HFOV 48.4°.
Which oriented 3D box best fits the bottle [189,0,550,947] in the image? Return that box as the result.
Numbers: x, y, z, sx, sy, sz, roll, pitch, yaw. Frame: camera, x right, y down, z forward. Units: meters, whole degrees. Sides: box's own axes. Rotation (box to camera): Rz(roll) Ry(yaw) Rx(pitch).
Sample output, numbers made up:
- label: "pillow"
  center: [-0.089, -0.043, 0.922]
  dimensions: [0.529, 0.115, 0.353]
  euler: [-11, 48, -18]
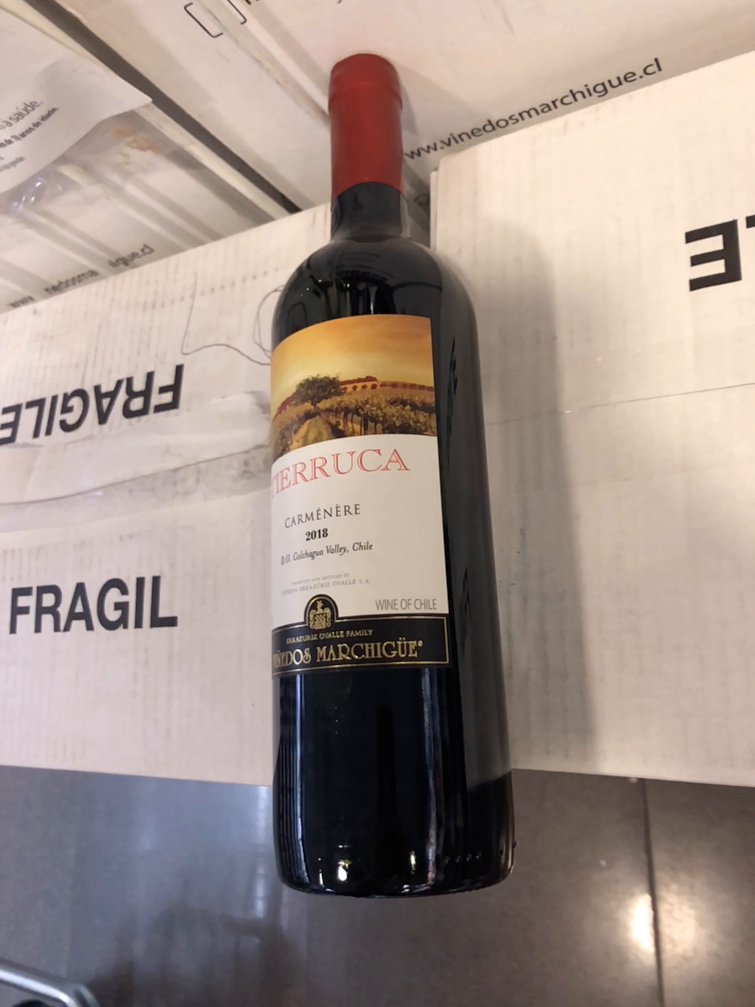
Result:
- label: "bottle"
  center: [-0.004, -0.035, 0.295]
  dimensions: [0.080, 0.080, 0.320]
  euler: [-10, 74, 30]
